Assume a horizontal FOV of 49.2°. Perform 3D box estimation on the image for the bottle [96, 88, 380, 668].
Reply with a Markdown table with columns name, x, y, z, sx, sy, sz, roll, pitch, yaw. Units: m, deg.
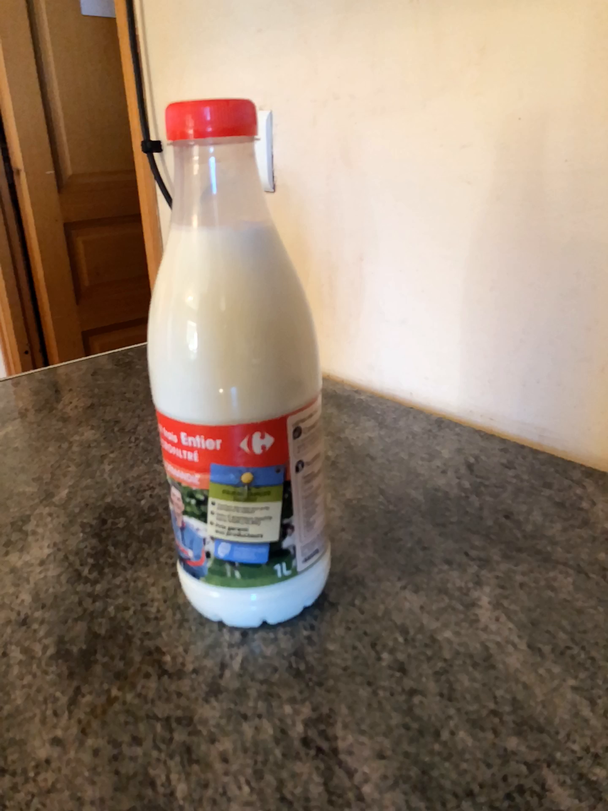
| name | x | y | z | sx | sy | sz | roll | pitch | yaw |
| --- | --- | --- | --- | --- | --- | --- | --- | --- | --- |
| bottle | -0.022 | -0.013 | 0.325 | 0.090 | 0.249 | 0.080 | 12 | 25 | 33 |
